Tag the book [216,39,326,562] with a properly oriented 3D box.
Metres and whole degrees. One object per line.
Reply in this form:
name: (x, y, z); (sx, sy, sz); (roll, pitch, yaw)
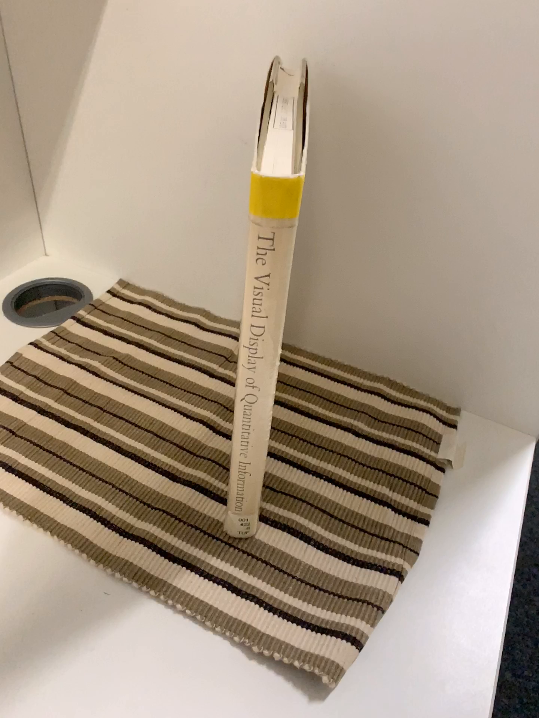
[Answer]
book: (-0.001, -0.046, 0.407); (0.040, 0.287, 0.252); (5, 40, 0)
